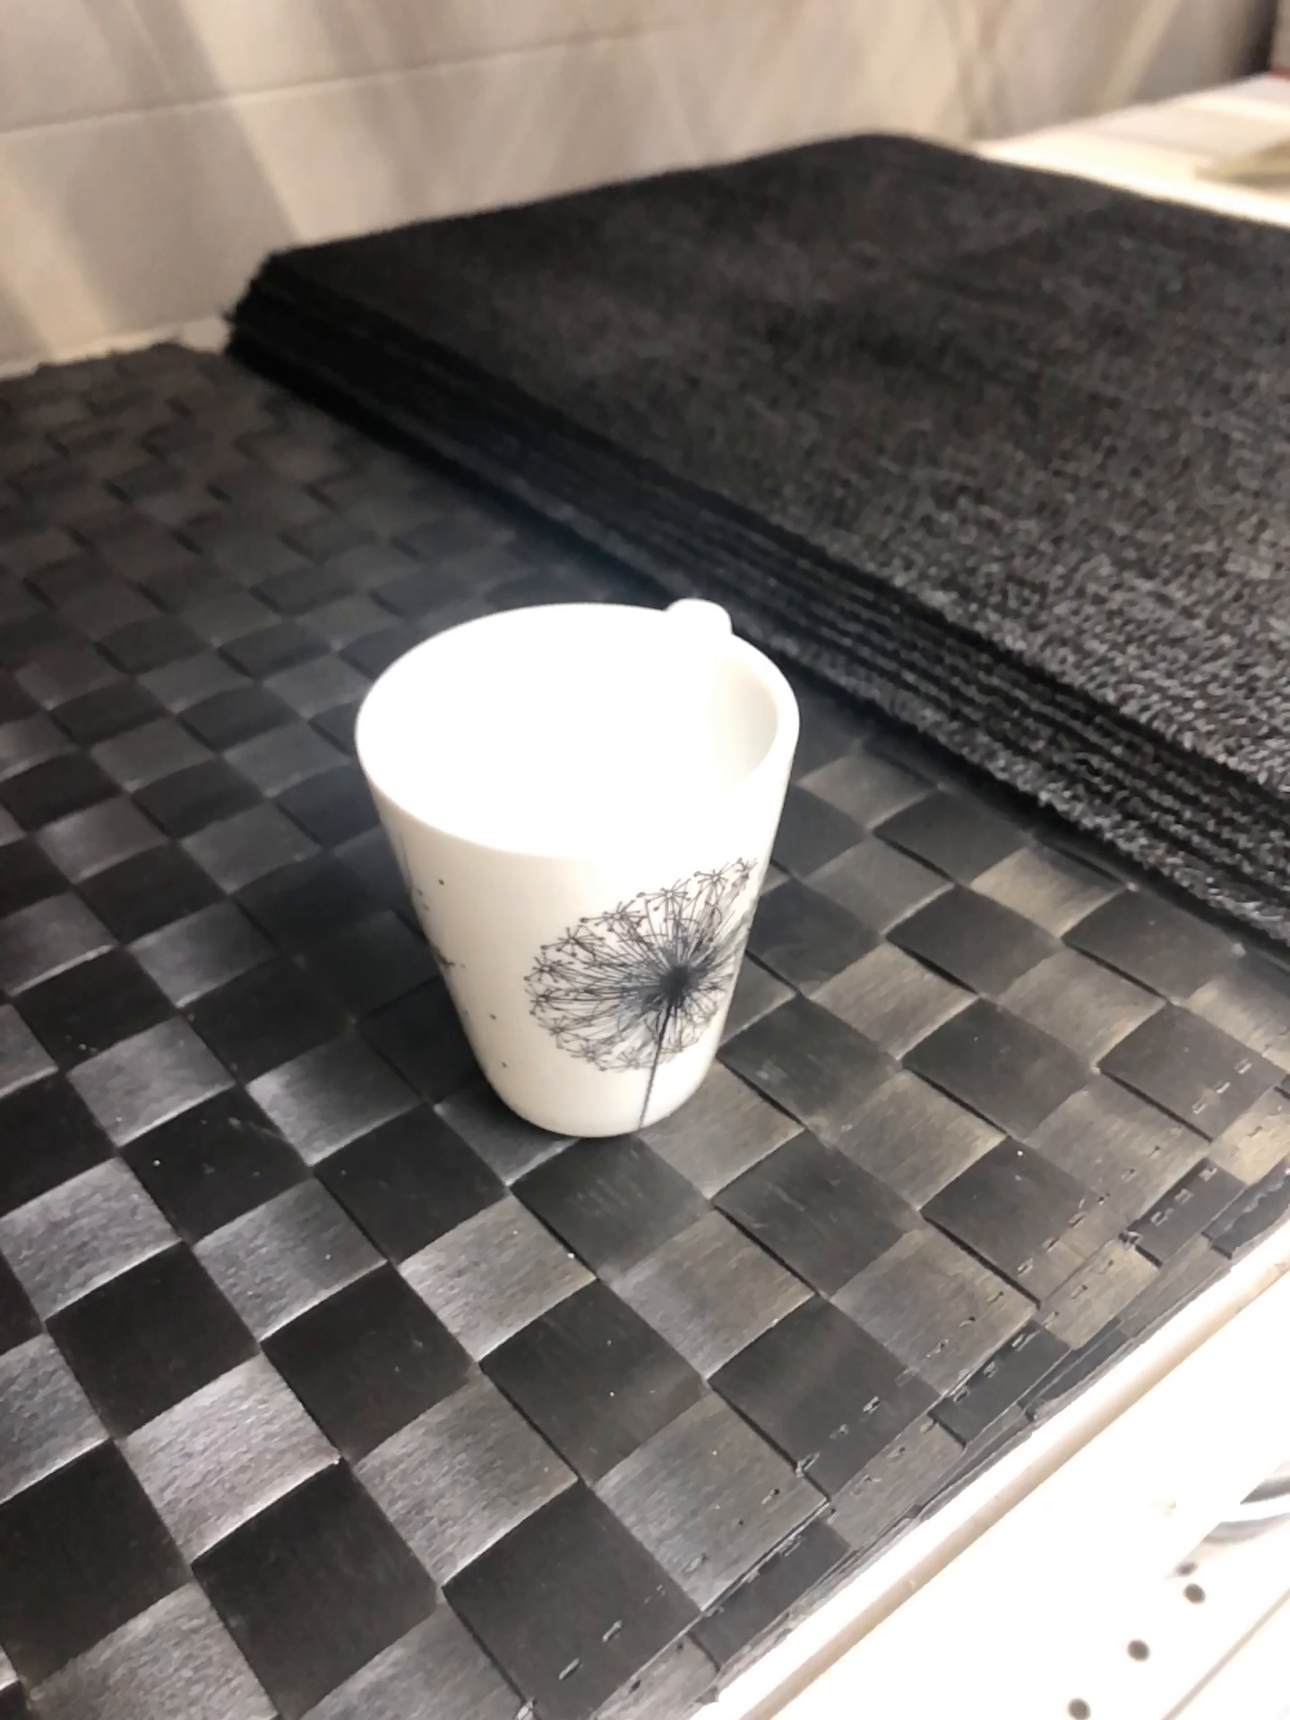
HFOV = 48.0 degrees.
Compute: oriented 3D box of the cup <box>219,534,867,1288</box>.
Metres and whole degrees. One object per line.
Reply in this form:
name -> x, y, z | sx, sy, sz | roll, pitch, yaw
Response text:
cup -> -0.011, 0.003, 0.213 | 0.056, 0.059, 0.081 | 19, 42, 15
